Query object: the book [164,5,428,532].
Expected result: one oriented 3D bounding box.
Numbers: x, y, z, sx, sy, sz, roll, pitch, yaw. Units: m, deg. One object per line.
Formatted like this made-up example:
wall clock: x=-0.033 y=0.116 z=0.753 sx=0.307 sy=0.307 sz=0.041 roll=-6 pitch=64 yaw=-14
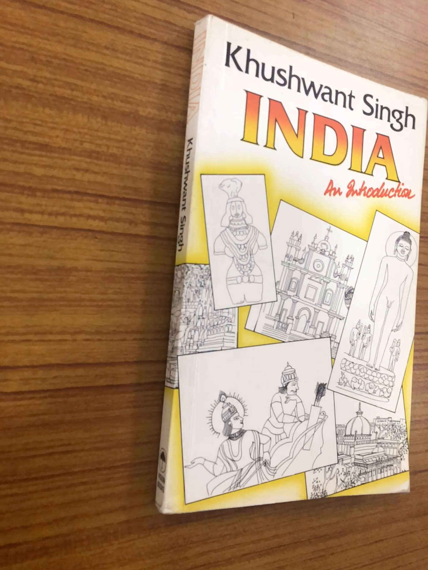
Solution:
book: x=0.056 y=-0.002 z=0.212 sx=0.140 sy=0.020 sz=0.190 roll=7 pitch=85 yaw=-27
